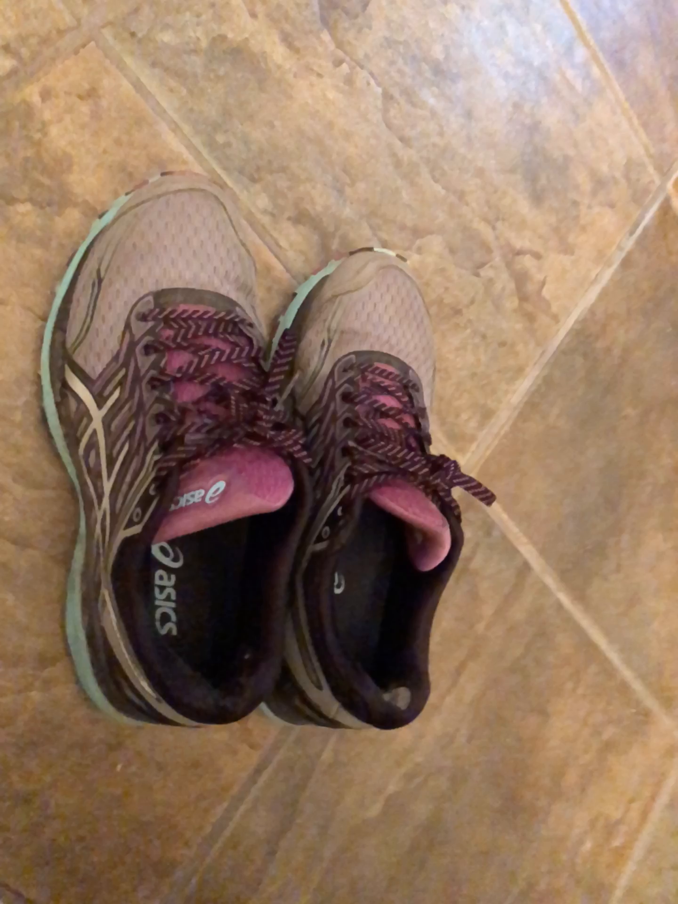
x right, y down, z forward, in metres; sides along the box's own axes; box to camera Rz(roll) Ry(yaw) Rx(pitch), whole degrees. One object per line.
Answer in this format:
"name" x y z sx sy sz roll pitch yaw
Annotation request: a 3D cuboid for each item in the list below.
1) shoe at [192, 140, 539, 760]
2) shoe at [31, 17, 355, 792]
"shoe" 0.013 0.003 0.411 0.110 0.120 0.280 11 83 -31
"shoe" -0.074 -0.018 0.348 0.110 0.120 0.280 0 89 -32
